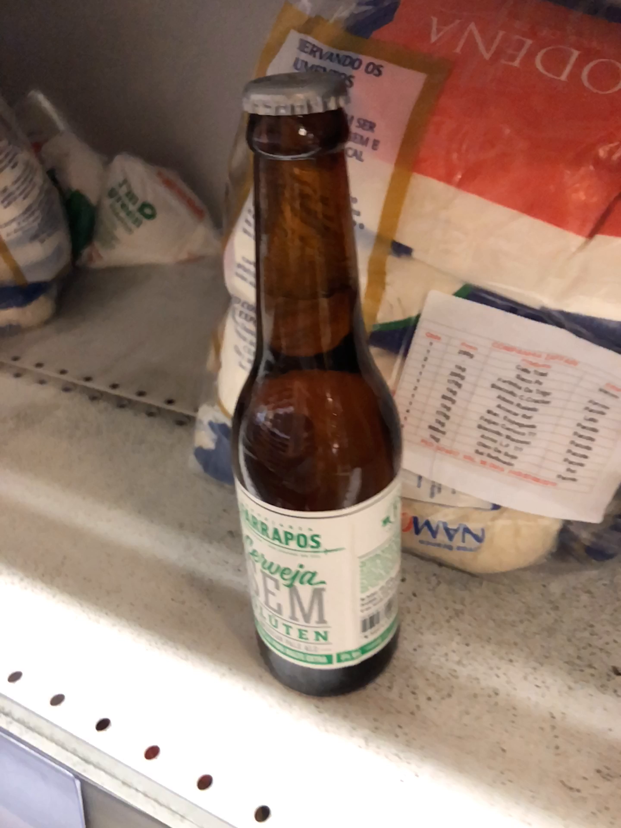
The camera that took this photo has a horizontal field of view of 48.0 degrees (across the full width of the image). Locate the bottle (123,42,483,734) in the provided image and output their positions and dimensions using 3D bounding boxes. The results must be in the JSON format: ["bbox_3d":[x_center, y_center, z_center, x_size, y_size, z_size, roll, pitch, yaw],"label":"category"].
[{"bbox_3d":[0.006,0.005,0.240,0.070,0.228,0.060,16,39,26],"label":"bottle"}]
